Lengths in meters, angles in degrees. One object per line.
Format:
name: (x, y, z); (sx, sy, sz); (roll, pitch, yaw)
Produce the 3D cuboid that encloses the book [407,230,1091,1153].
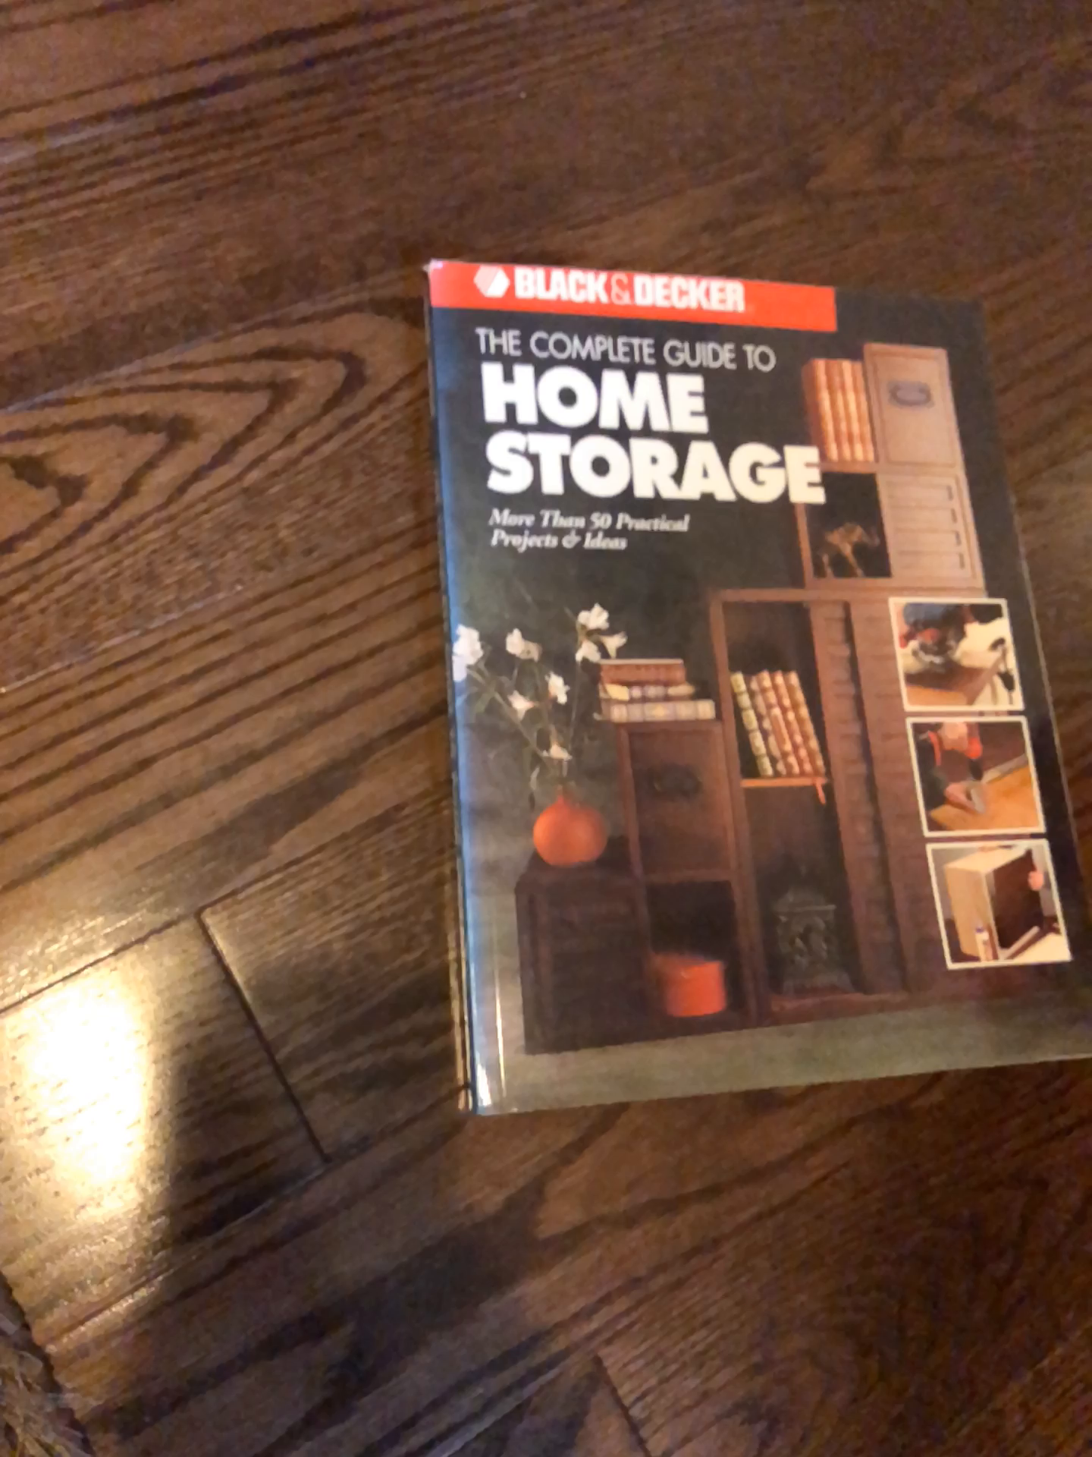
book: (0.070, -0.023, 0.401); (0.215, 0.020, 0.287); (-1, 76, -14)
